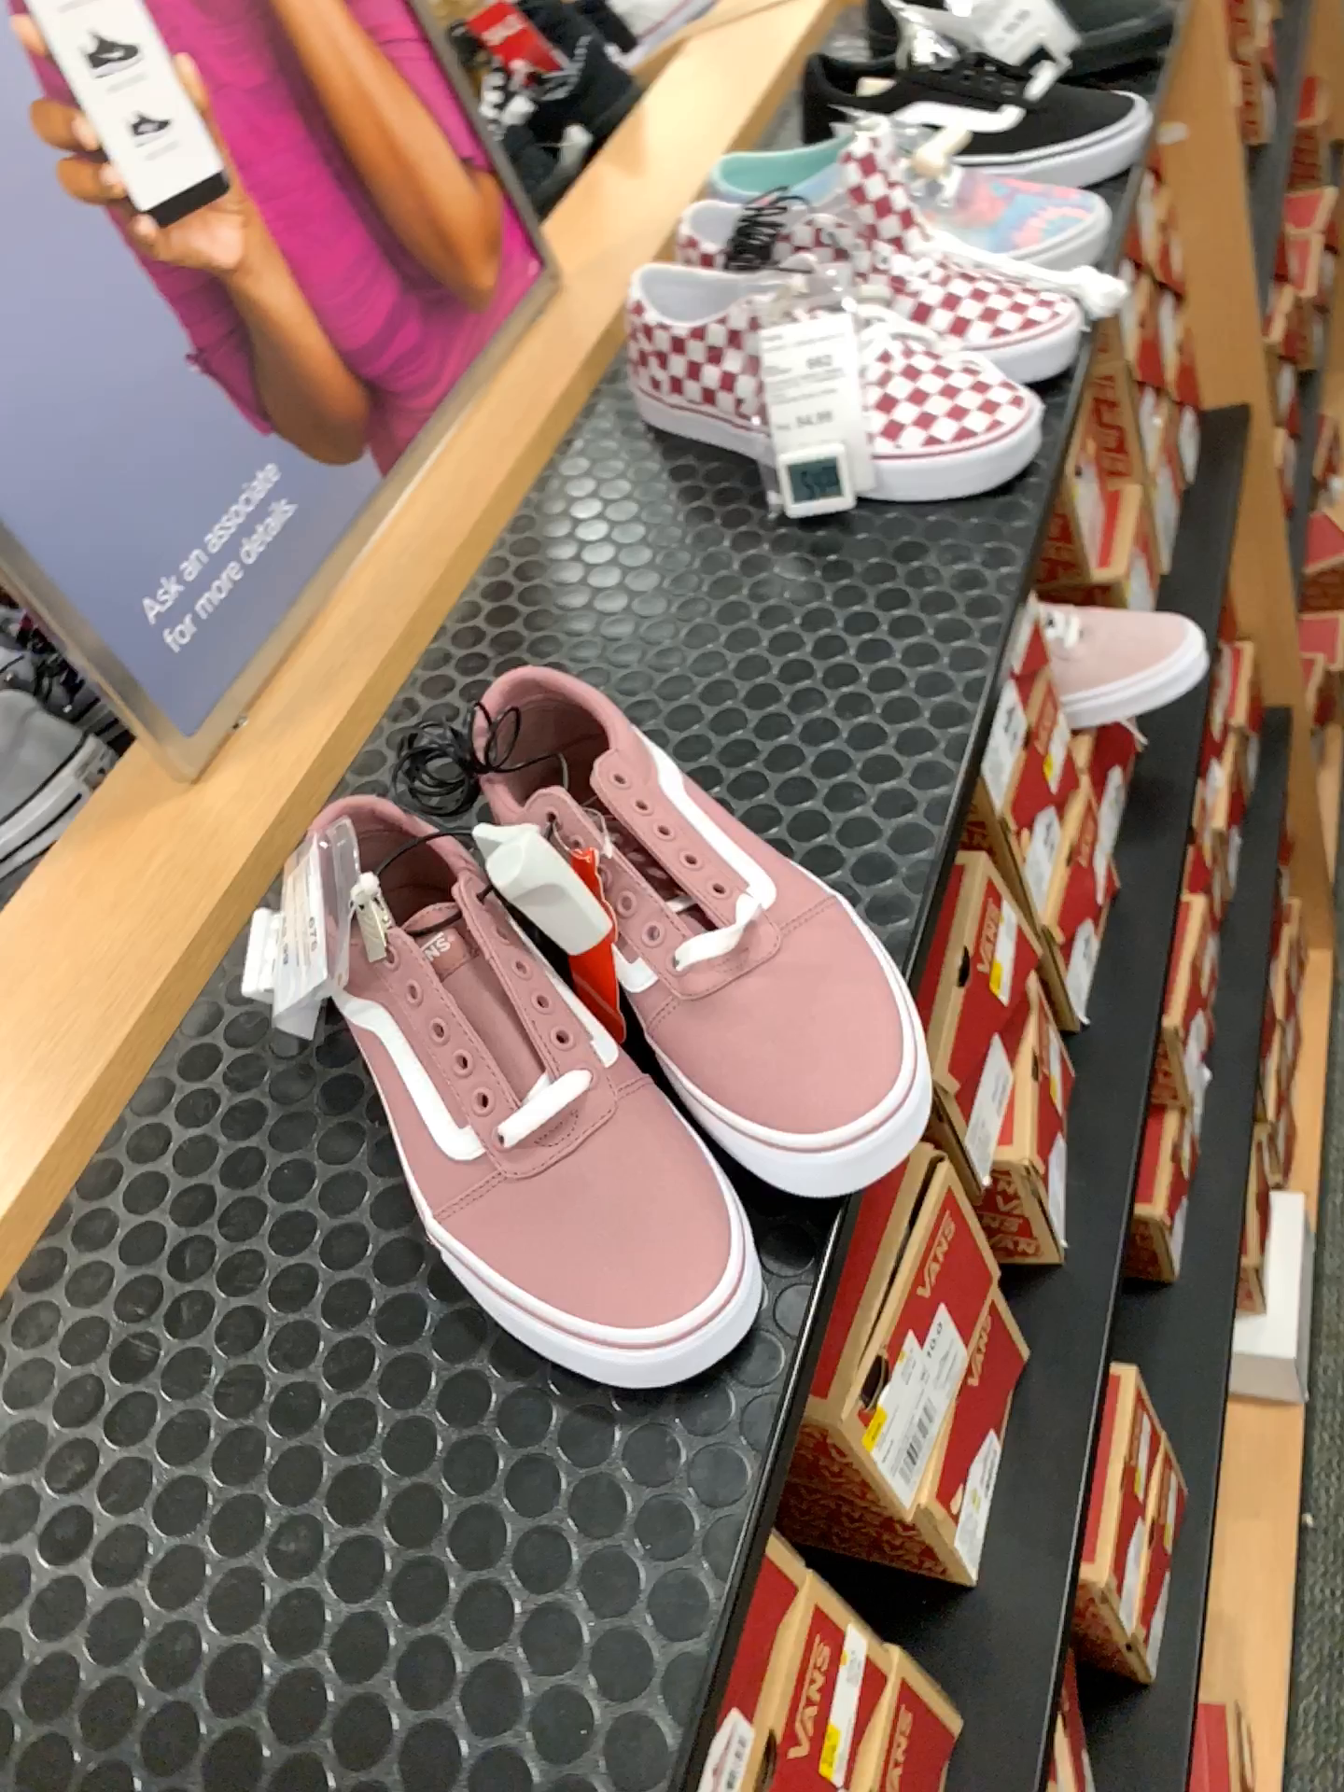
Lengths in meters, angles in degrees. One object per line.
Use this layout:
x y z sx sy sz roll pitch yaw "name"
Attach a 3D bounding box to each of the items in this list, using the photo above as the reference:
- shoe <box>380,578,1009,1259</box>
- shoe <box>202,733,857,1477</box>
-0.001 -0.005 0.539 0.100 0.099 0.261 -36 48 -7 "shoe"
-0.062 0.062 0.512 0.100 0.099 0.261 -38 49 -9 "shoe"
